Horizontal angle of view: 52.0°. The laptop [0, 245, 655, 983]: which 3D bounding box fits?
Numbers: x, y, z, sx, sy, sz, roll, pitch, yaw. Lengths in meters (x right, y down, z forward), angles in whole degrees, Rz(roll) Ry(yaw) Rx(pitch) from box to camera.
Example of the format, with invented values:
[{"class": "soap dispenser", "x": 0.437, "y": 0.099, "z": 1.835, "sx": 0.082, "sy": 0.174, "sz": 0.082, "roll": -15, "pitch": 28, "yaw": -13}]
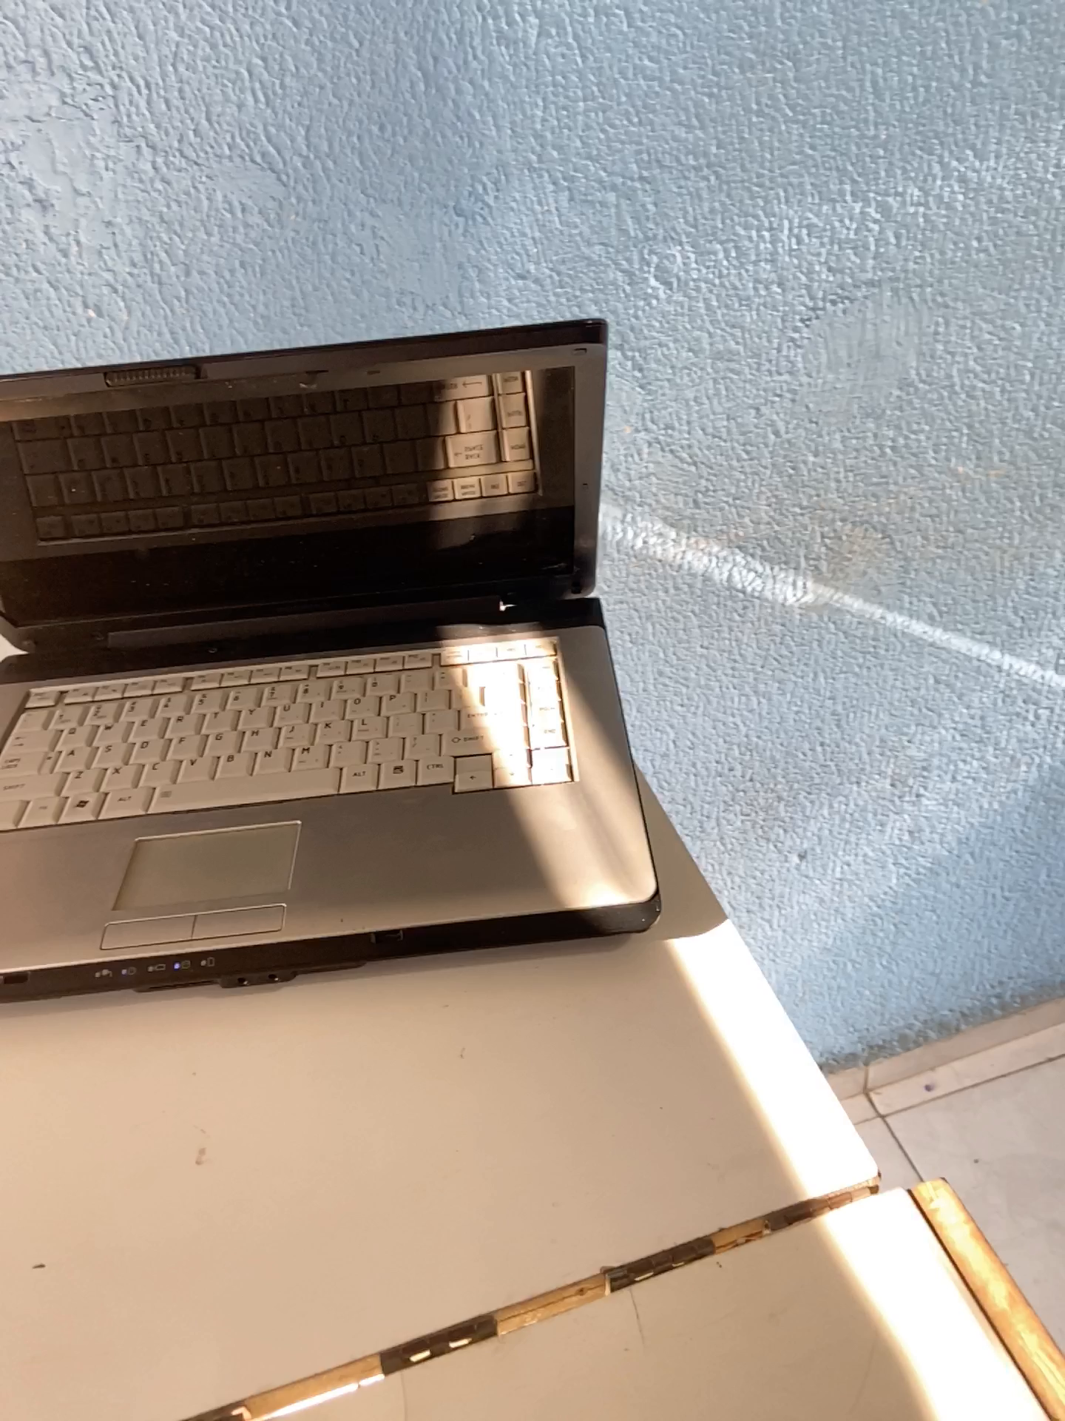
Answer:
[{"class": "laptop", "x": -0.140, "y": -0.057, "z": 0.499, "sx": 0.351, "sy": 0.202, "sz": 0.247, "roll": -5, "pitch": 36, "yaw": 0}]
